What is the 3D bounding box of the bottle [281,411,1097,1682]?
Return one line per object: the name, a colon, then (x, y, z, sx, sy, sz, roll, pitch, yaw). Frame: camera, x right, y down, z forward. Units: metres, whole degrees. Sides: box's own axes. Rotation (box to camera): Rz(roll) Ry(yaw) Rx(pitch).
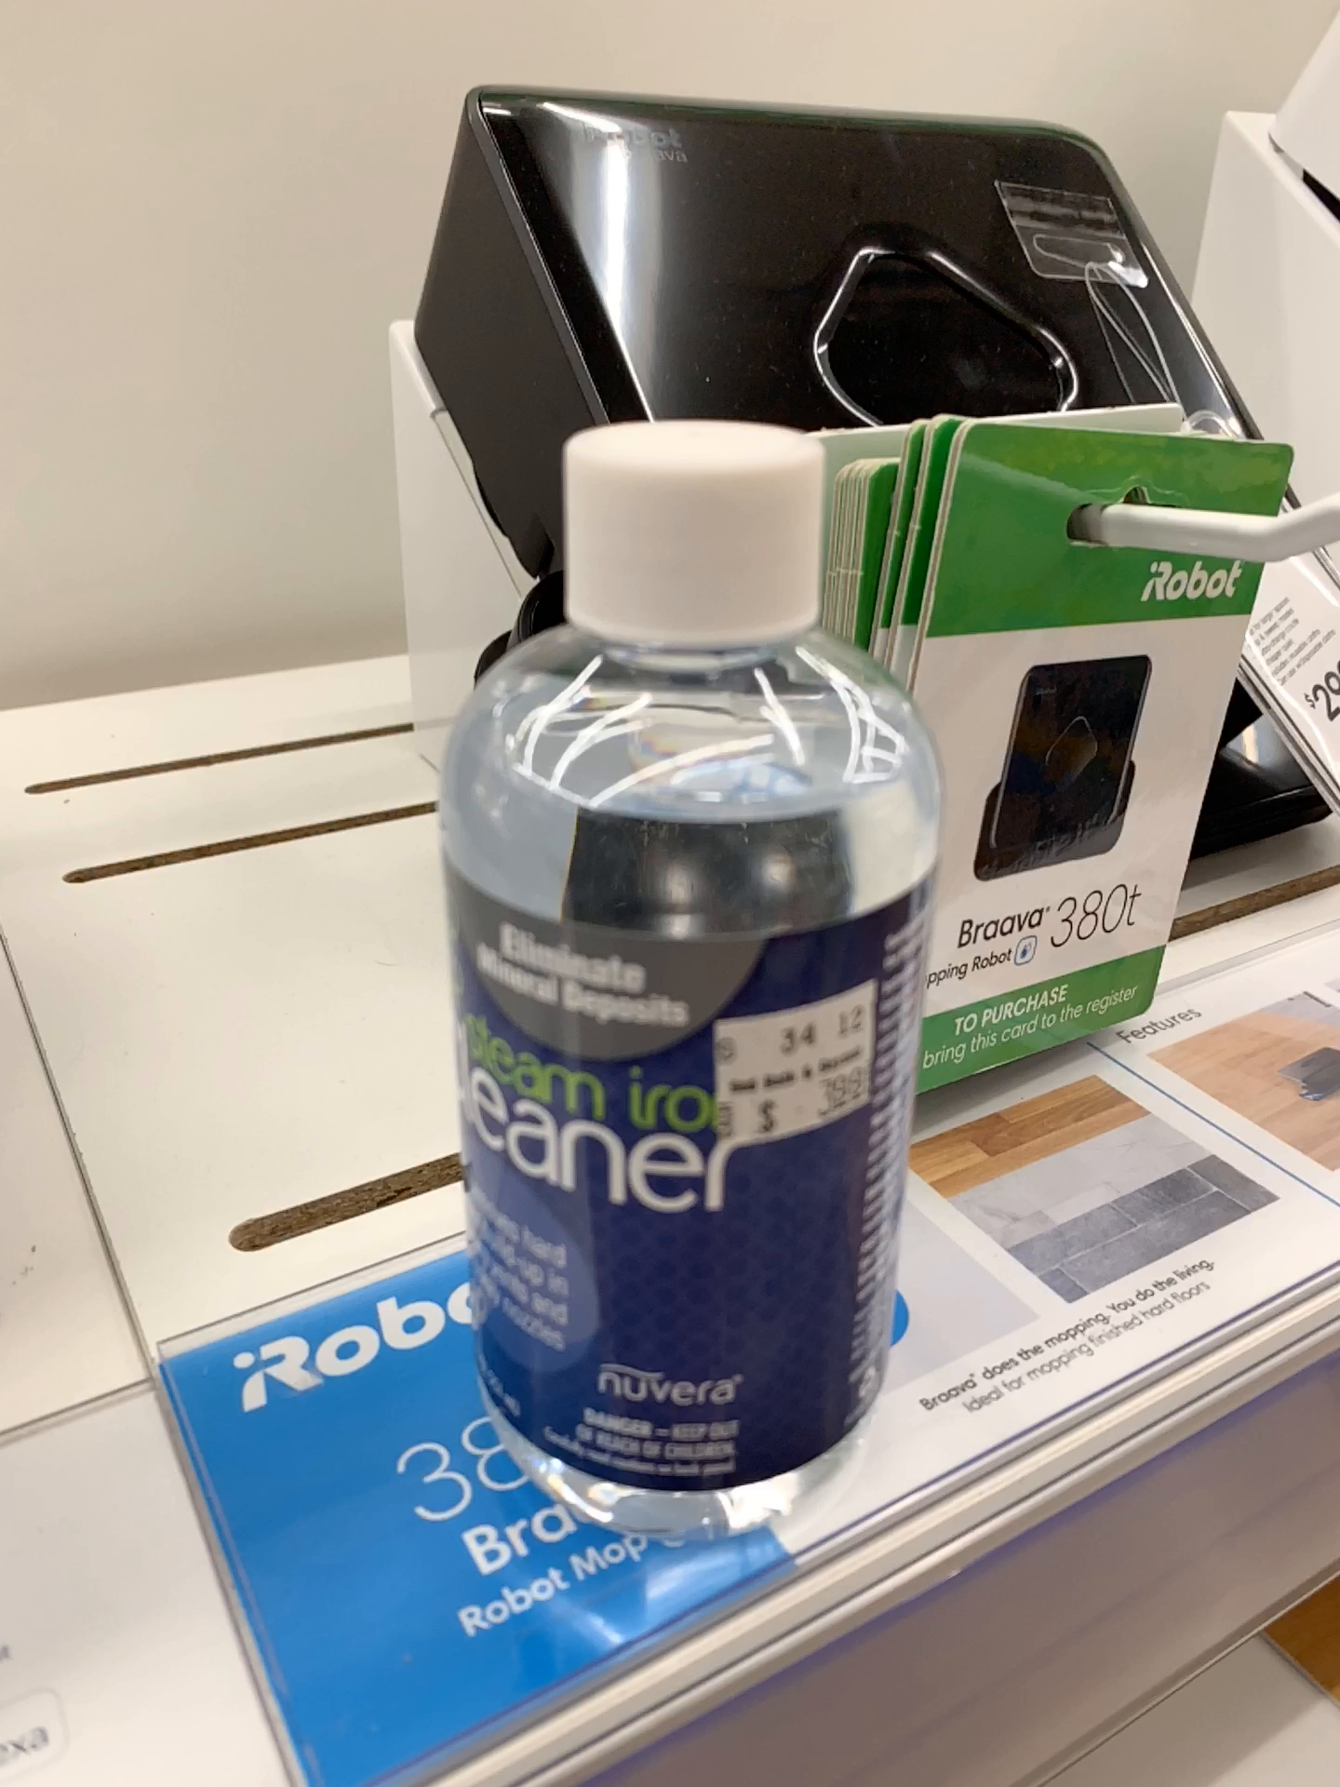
bottle: (0.002, 0.015, 0.171, 0.060, 0.129, 0.060, 2, 26, -1)
